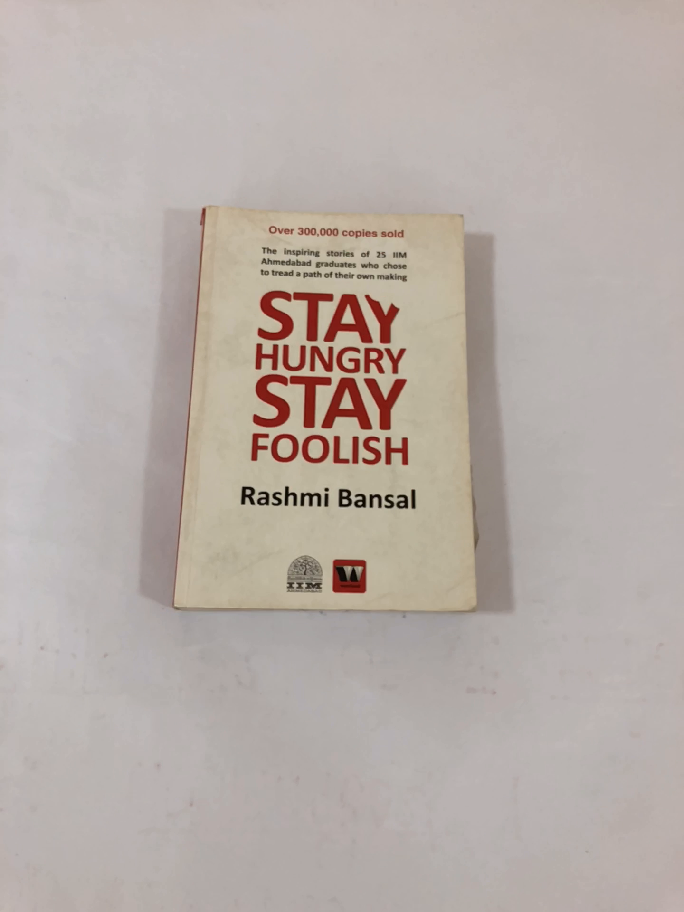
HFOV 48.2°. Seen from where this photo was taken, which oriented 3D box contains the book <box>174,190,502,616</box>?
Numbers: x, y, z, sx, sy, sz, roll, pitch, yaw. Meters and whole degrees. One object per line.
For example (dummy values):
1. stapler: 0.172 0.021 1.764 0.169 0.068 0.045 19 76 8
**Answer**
1. book: -0.001 -0.026 0.351 0.130 0.040 0.190 2 72 -3
